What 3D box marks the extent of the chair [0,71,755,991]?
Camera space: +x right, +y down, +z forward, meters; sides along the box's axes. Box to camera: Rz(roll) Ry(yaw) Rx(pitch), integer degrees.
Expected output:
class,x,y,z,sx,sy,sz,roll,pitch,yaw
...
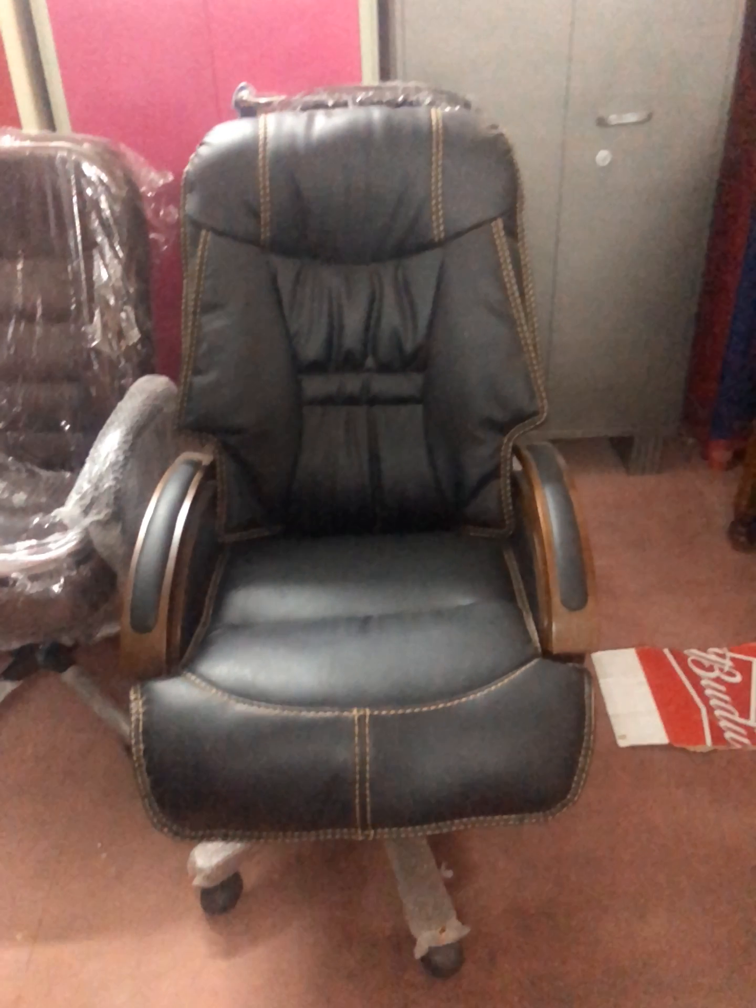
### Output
class,x,y,z,sx,sy,sz,roll,pitch,yaw
chair,-0.068,-0.007,1.163,0.700,0.995,0.794,-2,31,1
